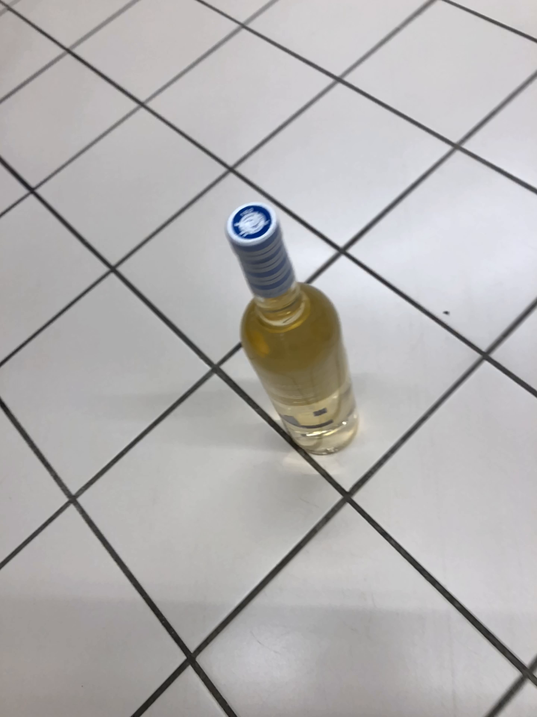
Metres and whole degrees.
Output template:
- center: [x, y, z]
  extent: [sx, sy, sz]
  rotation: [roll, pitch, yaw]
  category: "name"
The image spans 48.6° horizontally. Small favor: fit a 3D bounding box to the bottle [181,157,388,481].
- center: [0.036, 0.000, 0.446]
  extent: [0.080, 0.309, 0.080]
  rotation: [-5, 64, 9]
  category: "bottle"
